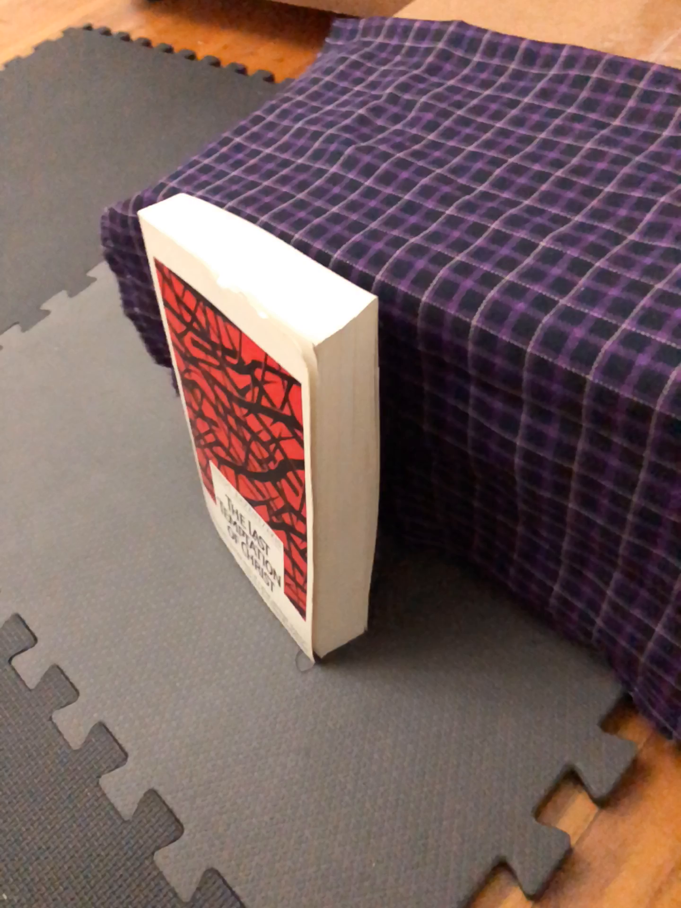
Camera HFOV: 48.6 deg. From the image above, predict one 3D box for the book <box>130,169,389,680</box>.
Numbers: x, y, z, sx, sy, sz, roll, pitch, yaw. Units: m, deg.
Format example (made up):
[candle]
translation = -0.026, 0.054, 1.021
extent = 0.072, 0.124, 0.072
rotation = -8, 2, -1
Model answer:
[book]
translation = -0.037, -0.011, 0.383
extent = 0.050, 0.209, 0.151
rotation = -21, 44, -17
